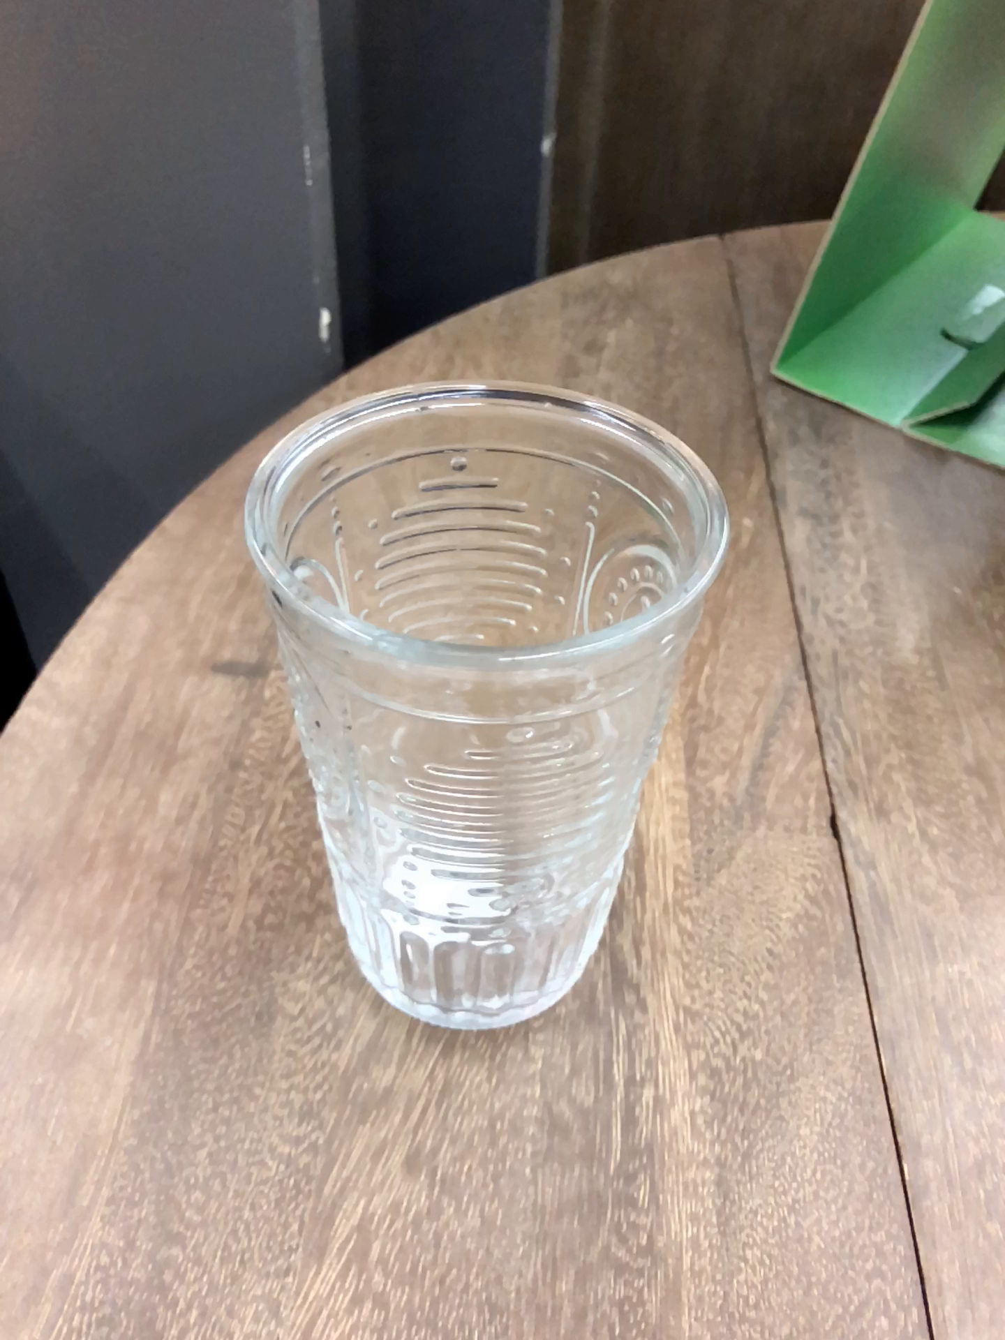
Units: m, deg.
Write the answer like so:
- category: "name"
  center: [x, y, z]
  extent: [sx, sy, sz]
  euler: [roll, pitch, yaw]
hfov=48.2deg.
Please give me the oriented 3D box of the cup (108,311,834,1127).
- category: "cup"
  center: [-0.003, 0.007, 0.223]
  extent: [0.085, 0.107, 0.088]
  euler: [1, 44, -1]
